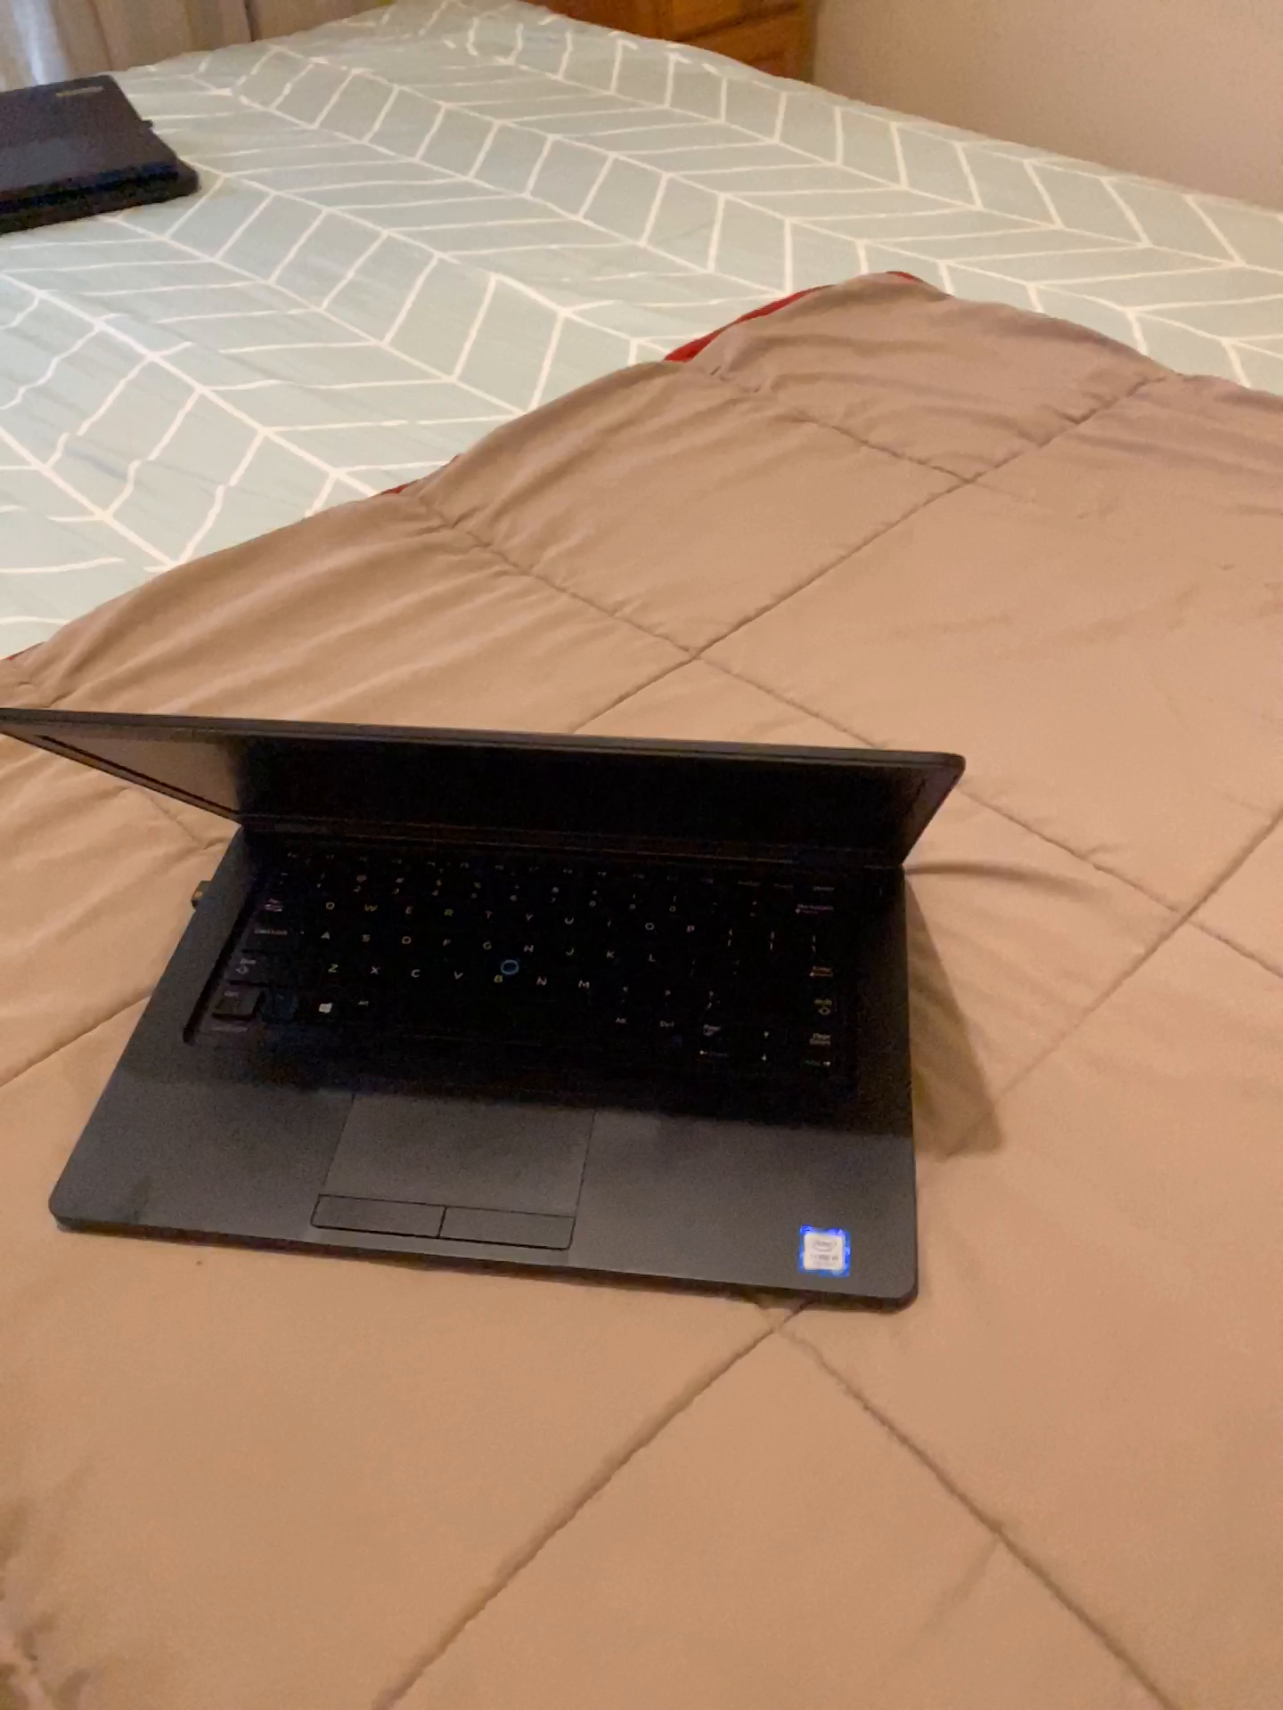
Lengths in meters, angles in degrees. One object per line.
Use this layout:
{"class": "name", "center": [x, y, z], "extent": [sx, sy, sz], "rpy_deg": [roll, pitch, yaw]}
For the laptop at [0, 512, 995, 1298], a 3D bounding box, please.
{"class": "laptop", "center": [-0.057, 0.008, 0.512], "extent": [0.334, 0.183, 0.227], "rpy_deg": [3, 44, 7]}
